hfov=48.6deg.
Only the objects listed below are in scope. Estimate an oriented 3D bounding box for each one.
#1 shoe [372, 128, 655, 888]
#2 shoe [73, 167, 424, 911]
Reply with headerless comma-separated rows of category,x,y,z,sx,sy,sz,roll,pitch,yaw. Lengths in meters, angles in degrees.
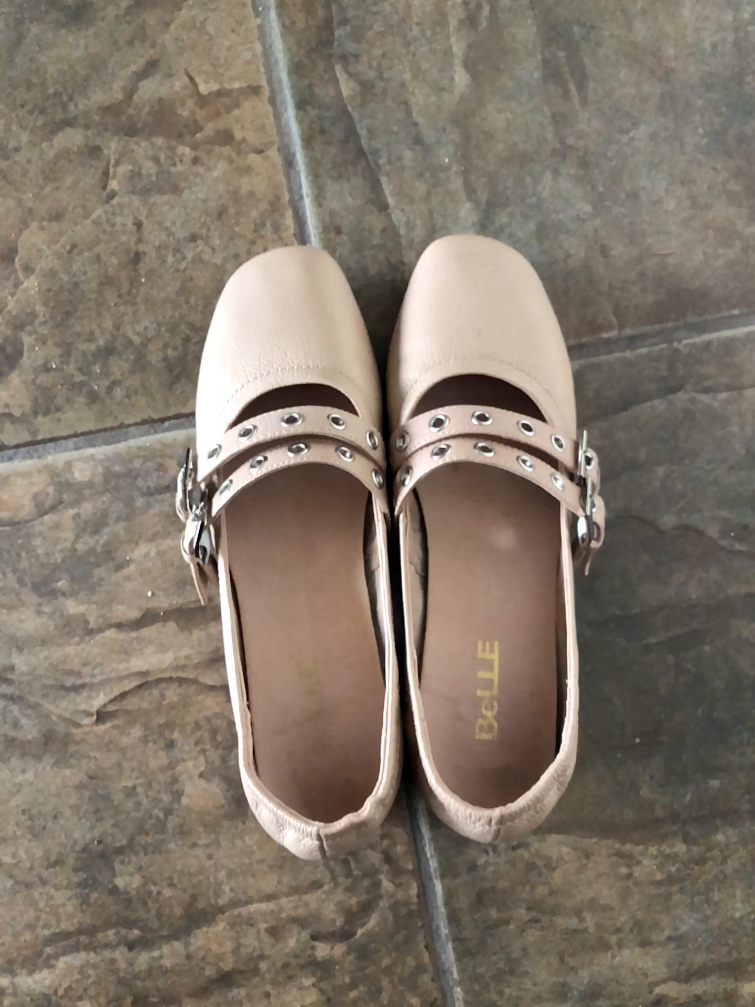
shoe,0.043,0.001,0.320,0.090,0.090,0.250,0,87,-1
shoe,-0.047,0.011,0.336,0.100,0.090,0.250,-6,87,-1
